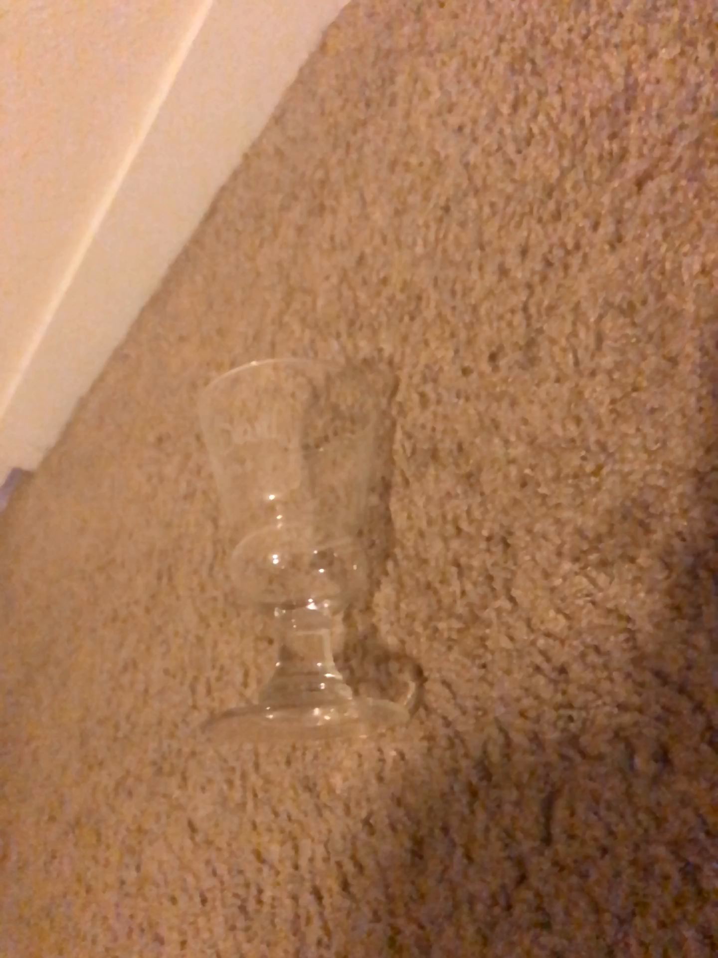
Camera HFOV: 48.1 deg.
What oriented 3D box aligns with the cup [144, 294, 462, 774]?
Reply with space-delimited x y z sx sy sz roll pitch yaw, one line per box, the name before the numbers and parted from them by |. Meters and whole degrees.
cup | -0.026 0.026 0.326 0.095 0.078 0.158 -41 43 47
